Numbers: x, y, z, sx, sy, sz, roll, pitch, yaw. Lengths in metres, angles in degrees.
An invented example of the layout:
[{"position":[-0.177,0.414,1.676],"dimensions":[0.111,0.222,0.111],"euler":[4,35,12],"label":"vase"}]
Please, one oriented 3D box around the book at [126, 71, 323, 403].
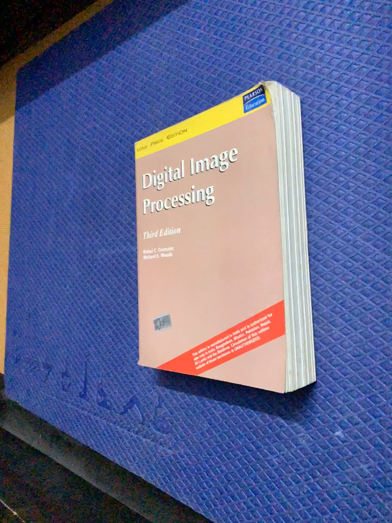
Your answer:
[{"position":[0.012,-0.014,0.348],"dimensions":[0.175,0.045,0.225],"euler":[-5,84,43],"label":"book"}]
